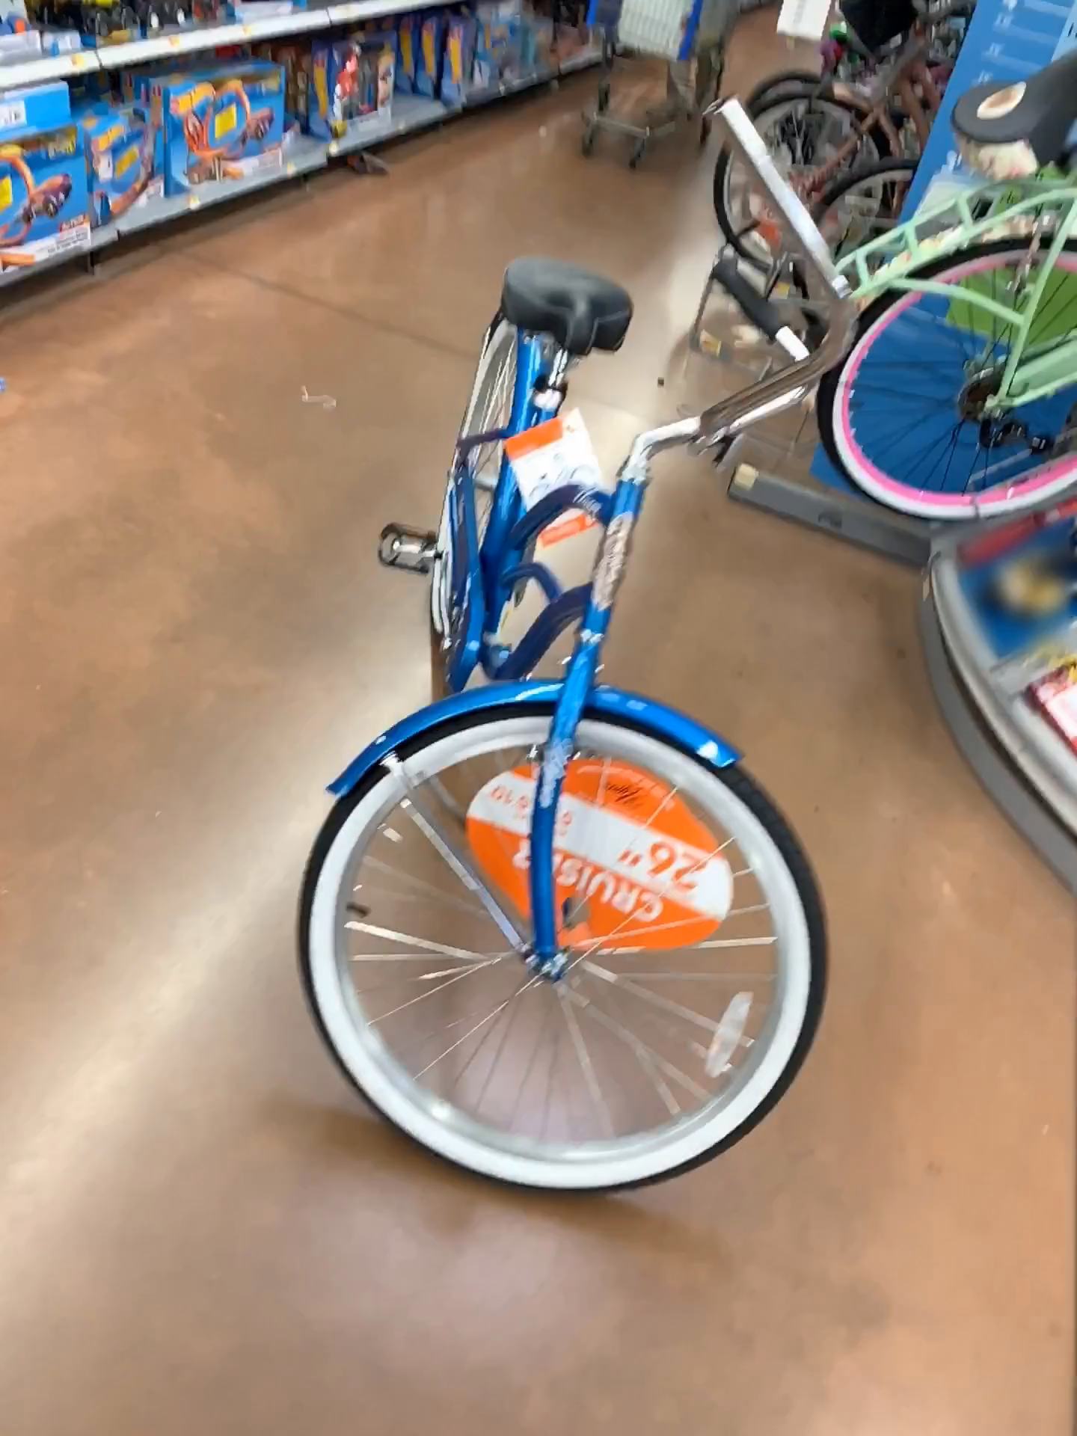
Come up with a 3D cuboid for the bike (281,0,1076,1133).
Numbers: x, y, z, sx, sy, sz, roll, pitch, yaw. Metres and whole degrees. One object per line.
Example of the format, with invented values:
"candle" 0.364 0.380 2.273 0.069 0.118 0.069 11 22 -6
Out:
"bike" 0.177 -0.385 1.701 0.873 1.207 1.536 -2 44 -18
